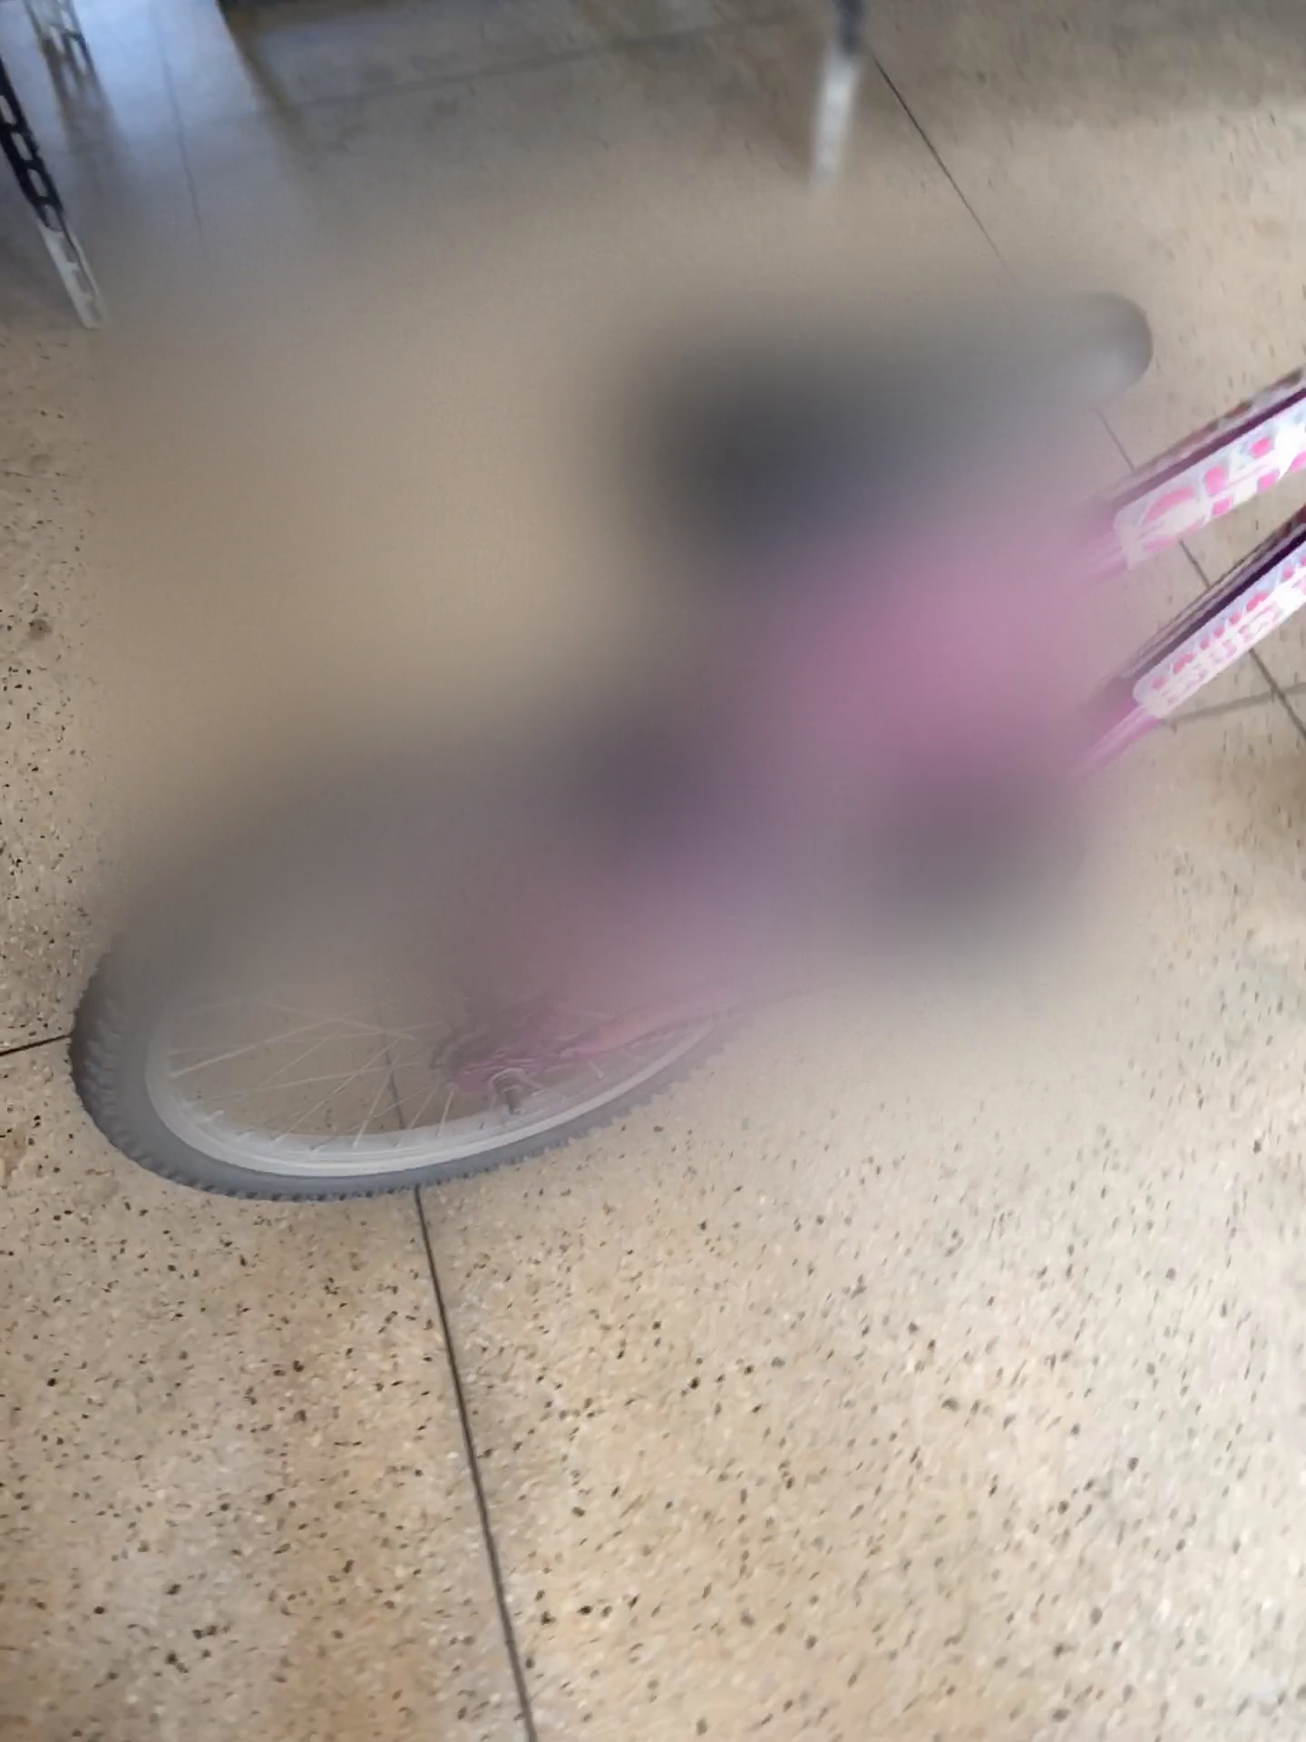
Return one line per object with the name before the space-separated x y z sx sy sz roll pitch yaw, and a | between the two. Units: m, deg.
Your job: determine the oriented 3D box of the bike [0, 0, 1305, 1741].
bike | 0.224 -0.171 0.808 1.263 0.935 0.616 -22 63 -11
